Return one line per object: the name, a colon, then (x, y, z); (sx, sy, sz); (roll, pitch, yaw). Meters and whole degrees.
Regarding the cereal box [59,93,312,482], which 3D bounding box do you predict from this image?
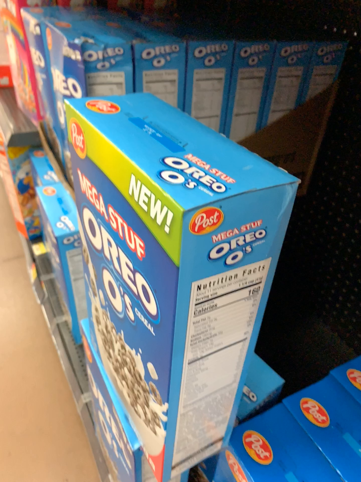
cereal box: (-0.025, 0.049, 0.344); (0.080, 0.298, 0.201); (-16, 41, -28)
